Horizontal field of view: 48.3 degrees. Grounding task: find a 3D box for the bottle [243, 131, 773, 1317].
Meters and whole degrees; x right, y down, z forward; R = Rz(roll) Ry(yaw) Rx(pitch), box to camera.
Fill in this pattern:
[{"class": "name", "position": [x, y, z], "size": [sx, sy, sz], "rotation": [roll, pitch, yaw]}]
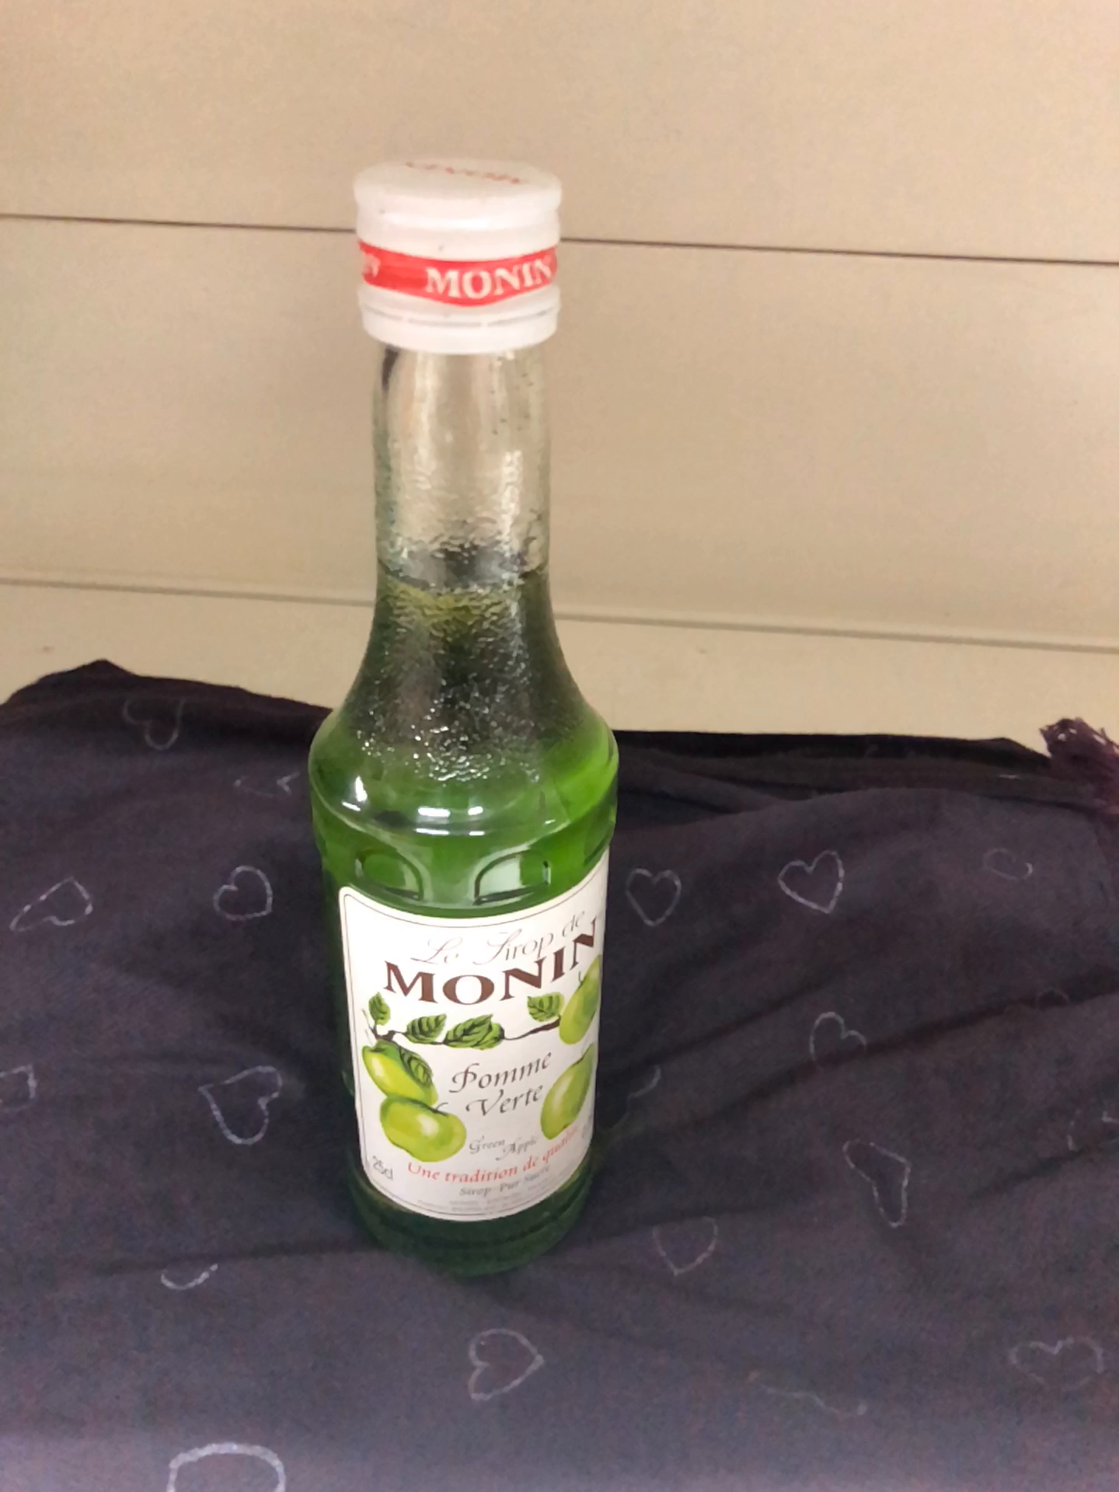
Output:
[{"class": "bottle", "position": [-0.013, 0.006, 0.218], "size": [0.060, 0.199, 0.060], "rotation": [1, 32, -1]}]
